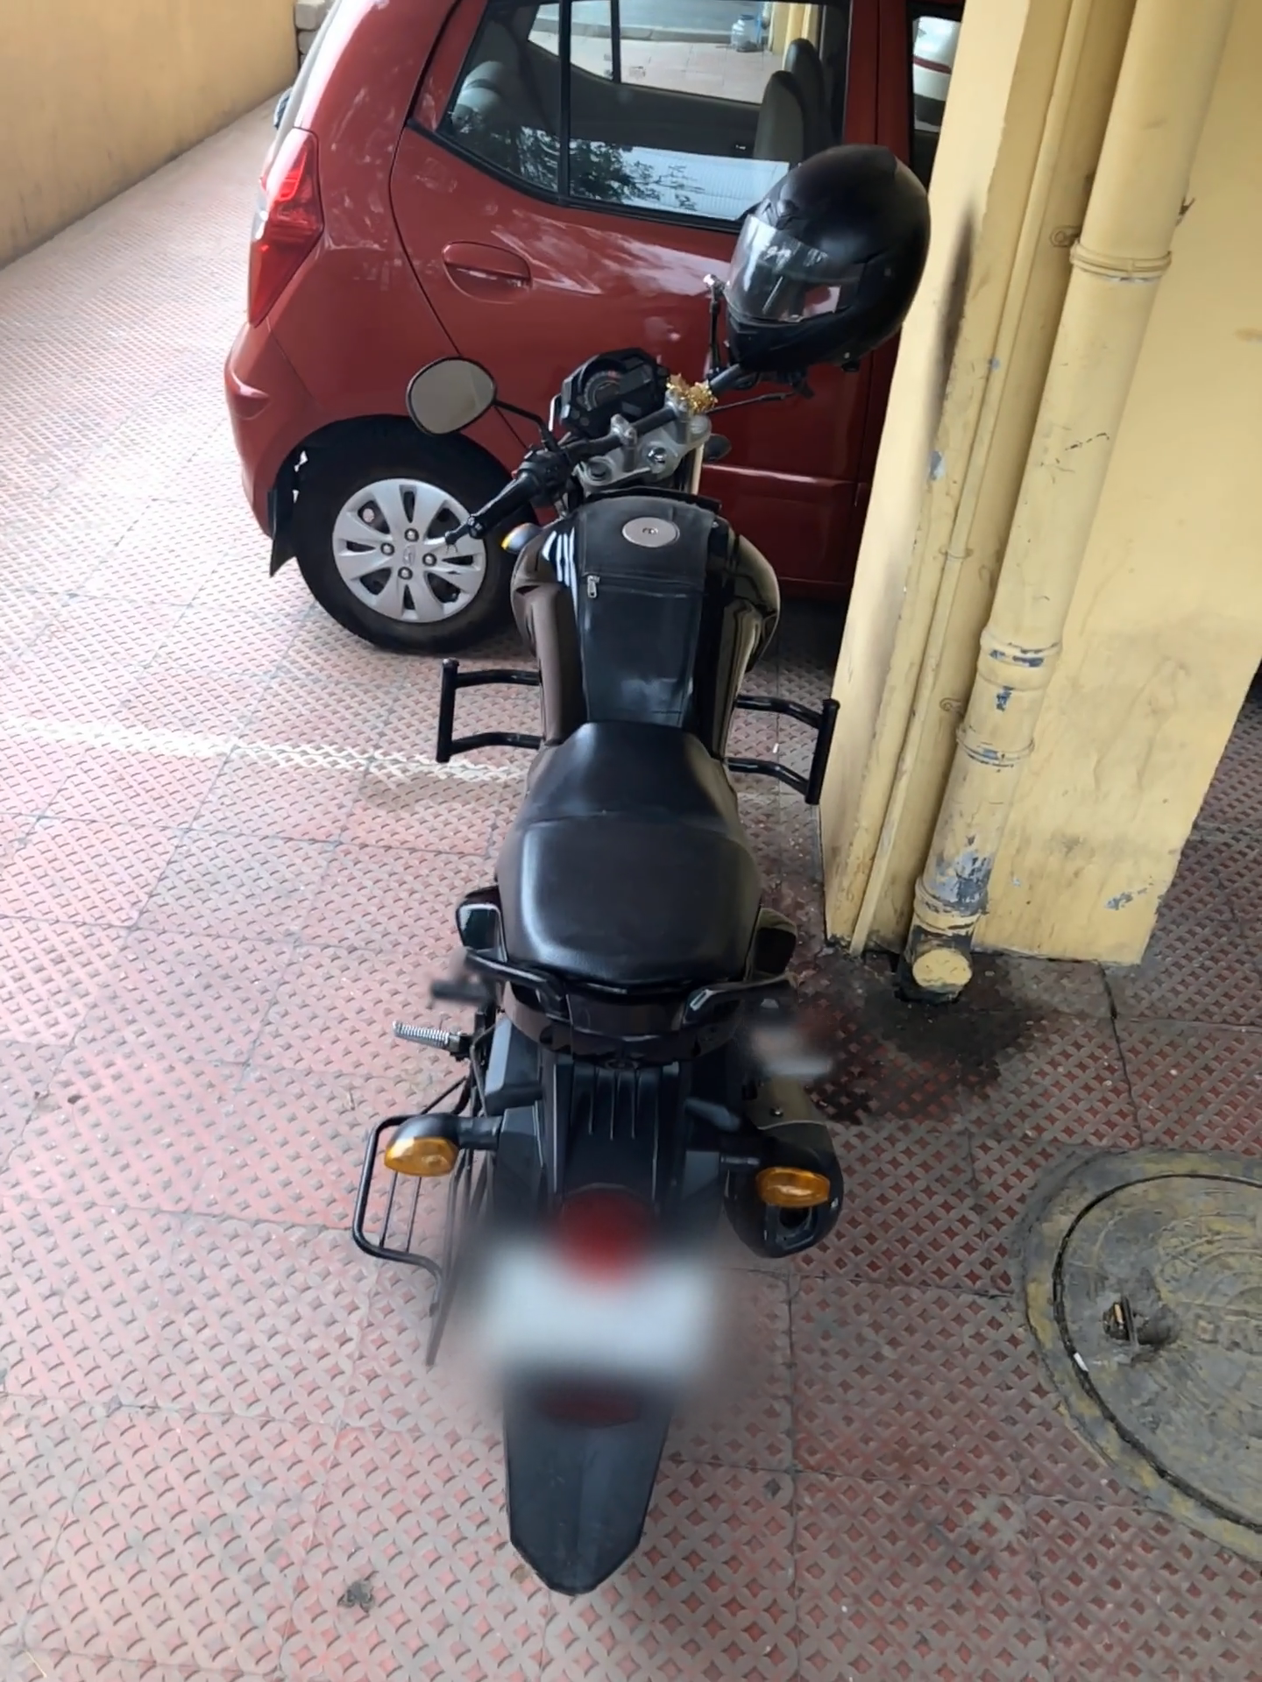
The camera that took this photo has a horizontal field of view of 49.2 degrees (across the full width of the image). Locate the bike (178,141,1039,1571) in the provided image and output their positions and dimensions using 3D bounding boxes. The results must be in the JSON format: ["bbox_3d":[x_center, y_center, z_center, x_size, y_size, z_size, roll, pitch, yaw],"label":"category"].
[{"bbox_3d":[-0.129,-0.162,1.980,0.609,1.052,1.808,1,40,-6],"label":"bike"}]
